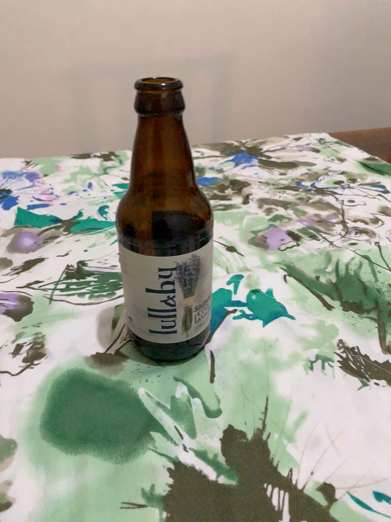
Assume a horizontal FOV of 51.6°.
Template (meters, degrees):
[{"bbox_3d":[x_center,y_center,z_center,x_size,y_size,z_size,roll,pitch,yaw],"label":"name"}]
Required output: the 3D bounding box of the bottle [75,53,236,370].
[{"bbox_3d":[-0.022,-0.026,0.253,0.070,0.179,0.070,0,32,0],"label":"bottle"}]
